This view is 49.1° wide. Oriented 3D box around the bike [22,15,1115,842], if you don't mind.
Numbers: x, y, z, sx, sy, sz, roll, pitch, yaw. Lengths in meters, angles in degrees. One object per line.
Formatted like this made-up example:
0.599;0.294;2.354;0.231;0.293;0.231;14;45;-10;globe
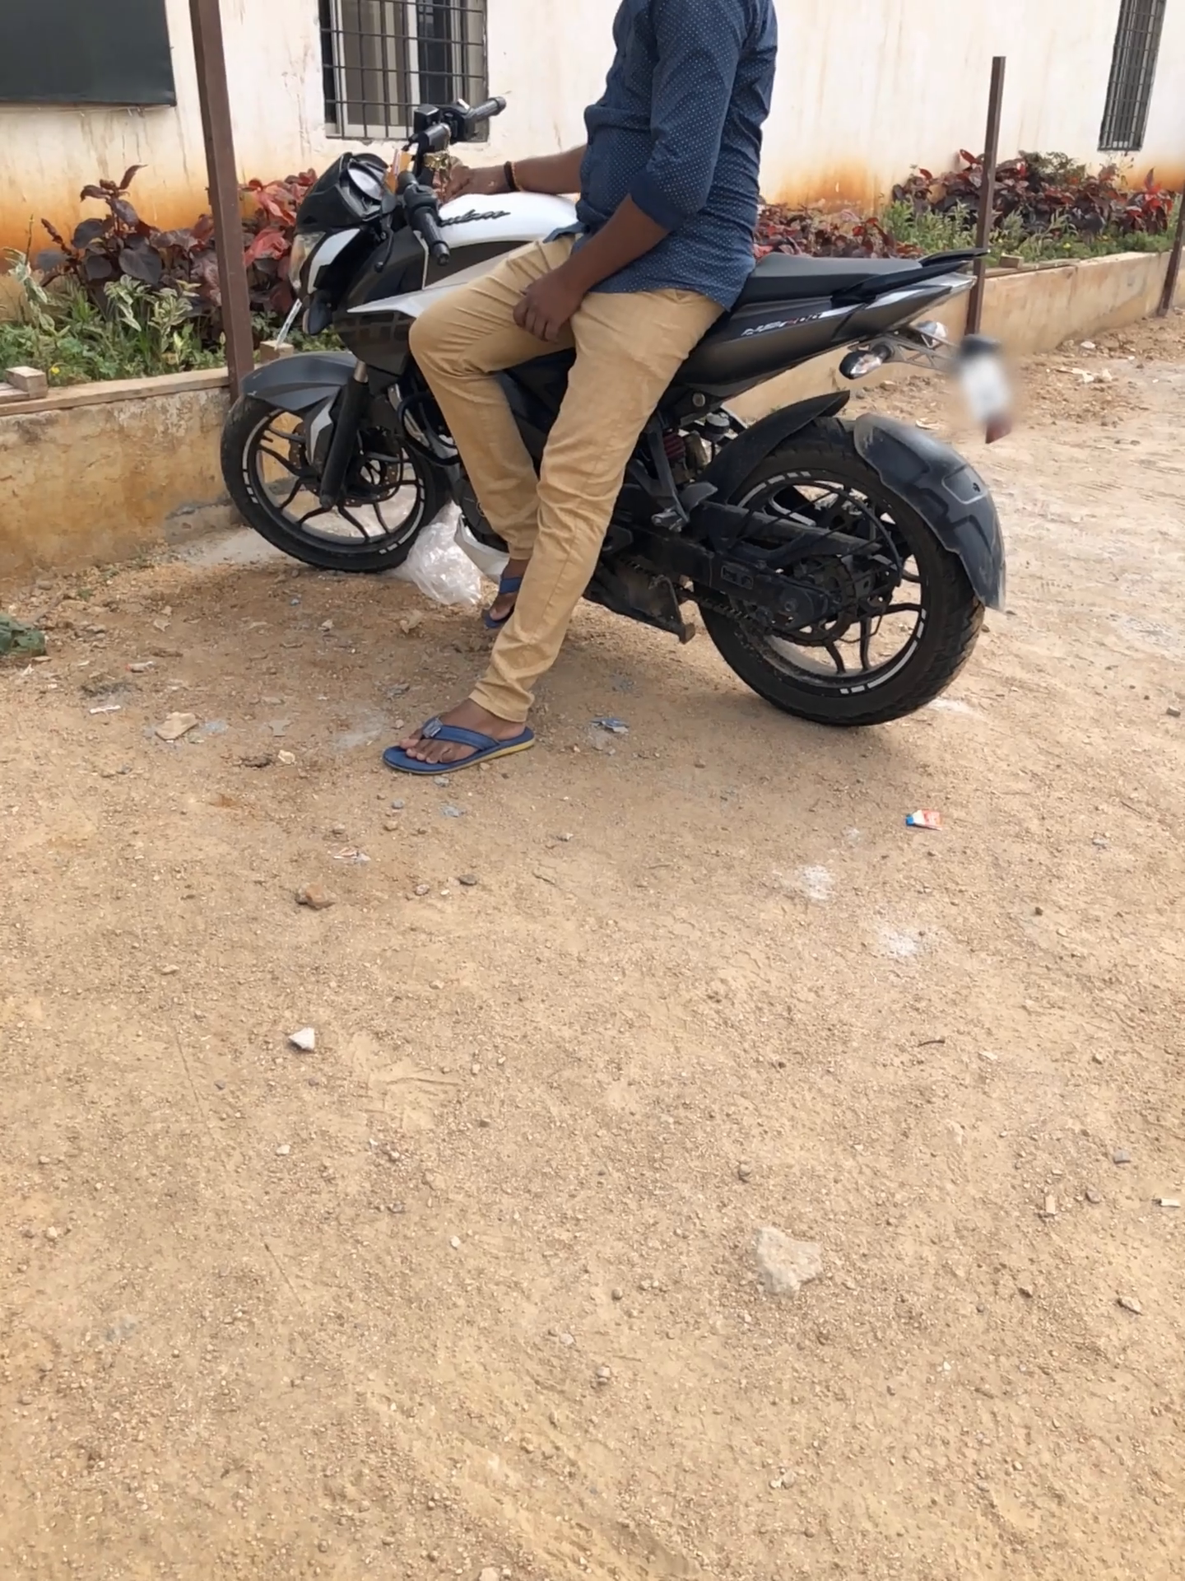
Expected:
-0.079;-0.834;2.638;1.847;1.122;0.784;18;31;24;bike
